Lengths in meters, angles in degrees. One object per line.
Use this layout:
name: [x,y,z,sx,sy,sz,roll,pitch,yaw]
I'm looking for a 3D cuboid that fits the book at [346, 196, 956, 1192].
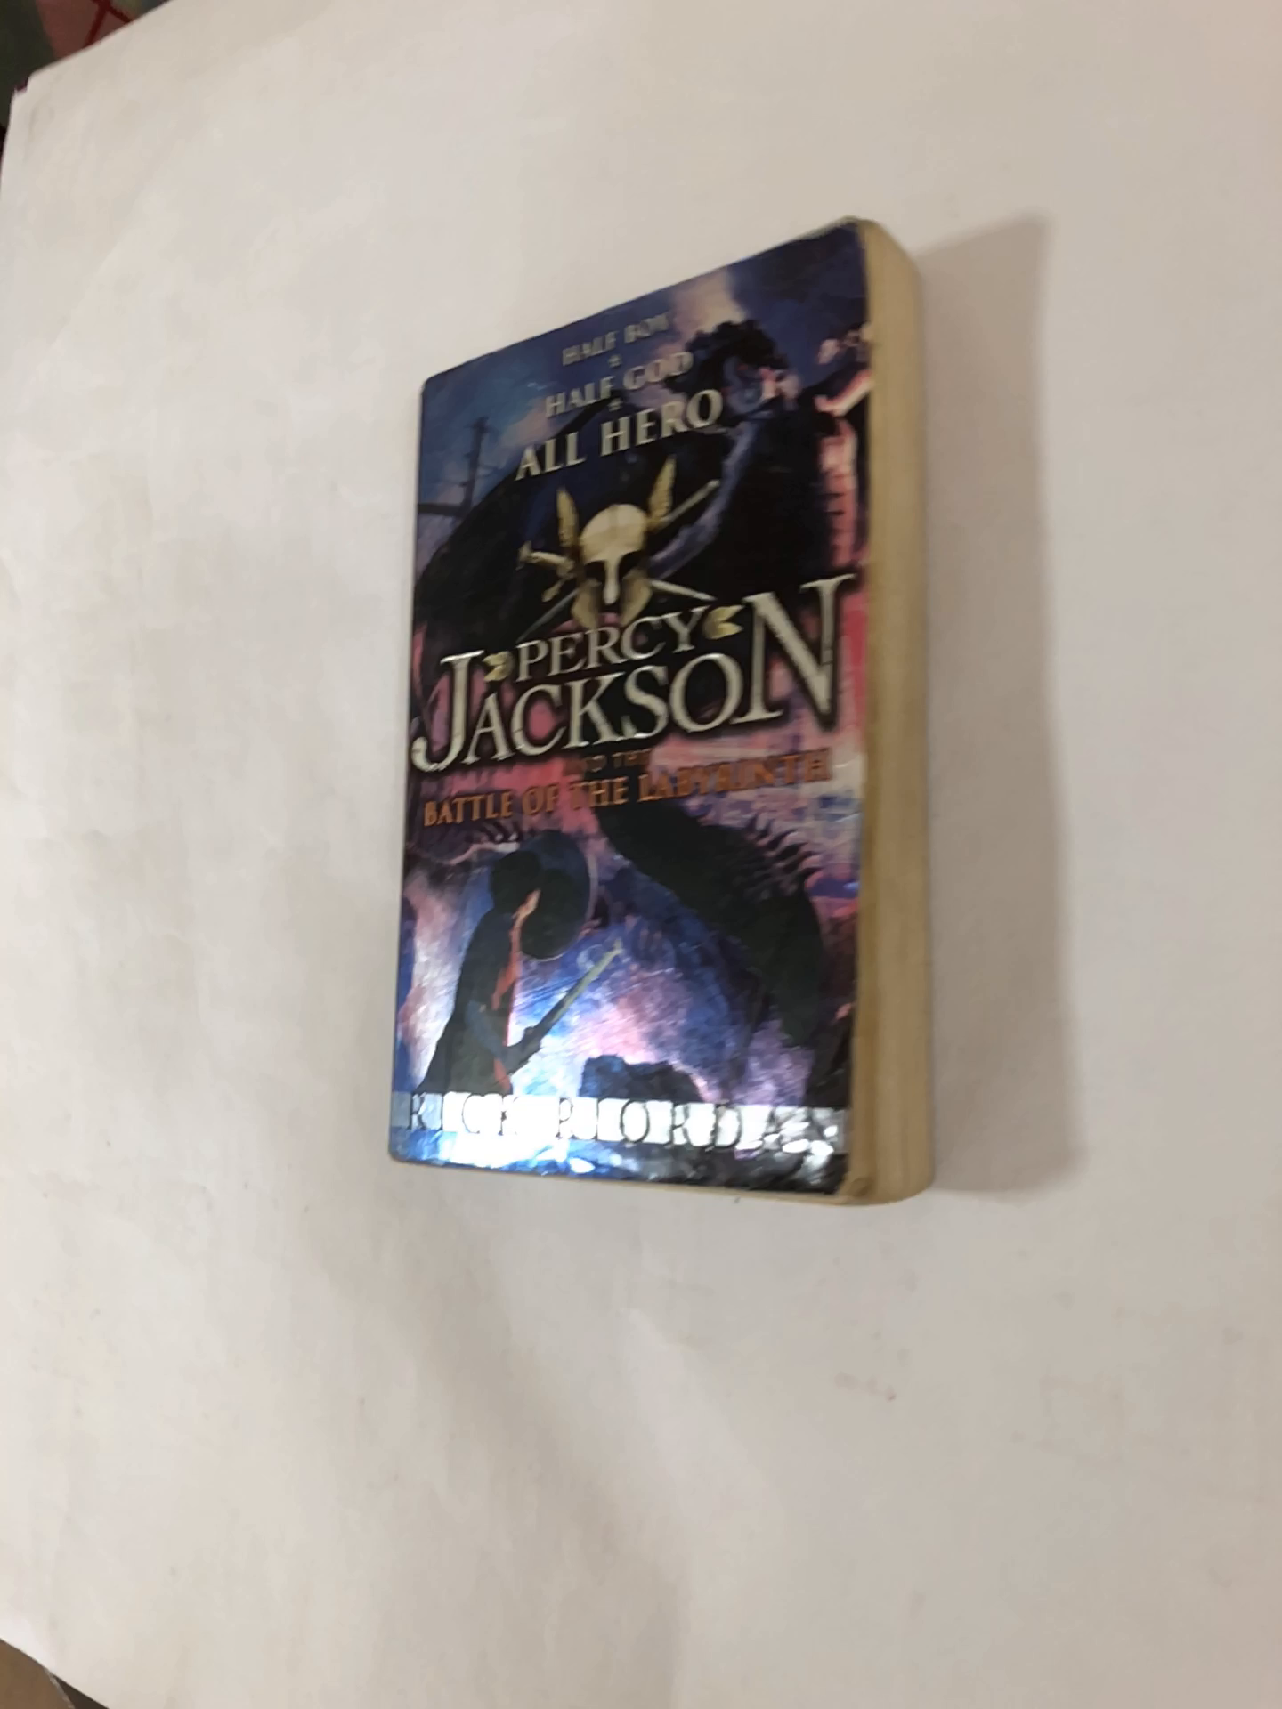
book: [-0.001,-0.027,0.317,0.131,0.040,0.190,-6,79,36]
